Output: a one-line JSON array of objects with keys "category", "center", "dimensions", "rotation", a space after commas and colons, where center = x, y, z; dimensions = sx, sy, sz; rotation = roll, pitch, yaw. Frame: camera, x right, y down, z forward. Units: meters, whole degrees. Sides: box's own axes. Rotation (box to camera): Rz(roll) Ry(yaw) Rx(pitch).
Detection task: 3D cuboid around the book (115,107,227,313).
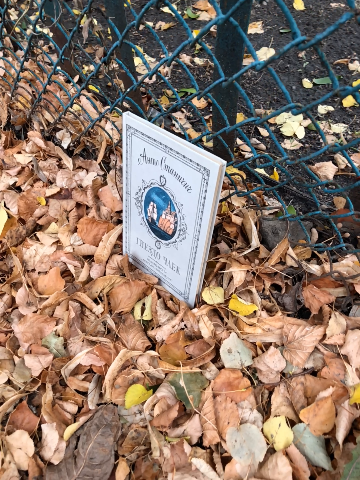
[{"category": "book", "center": [-0.019, -0.024, 0.430], "dimensions": [0.128, 0.199, 0.016], "rotation": [35, 50, 29]}]
